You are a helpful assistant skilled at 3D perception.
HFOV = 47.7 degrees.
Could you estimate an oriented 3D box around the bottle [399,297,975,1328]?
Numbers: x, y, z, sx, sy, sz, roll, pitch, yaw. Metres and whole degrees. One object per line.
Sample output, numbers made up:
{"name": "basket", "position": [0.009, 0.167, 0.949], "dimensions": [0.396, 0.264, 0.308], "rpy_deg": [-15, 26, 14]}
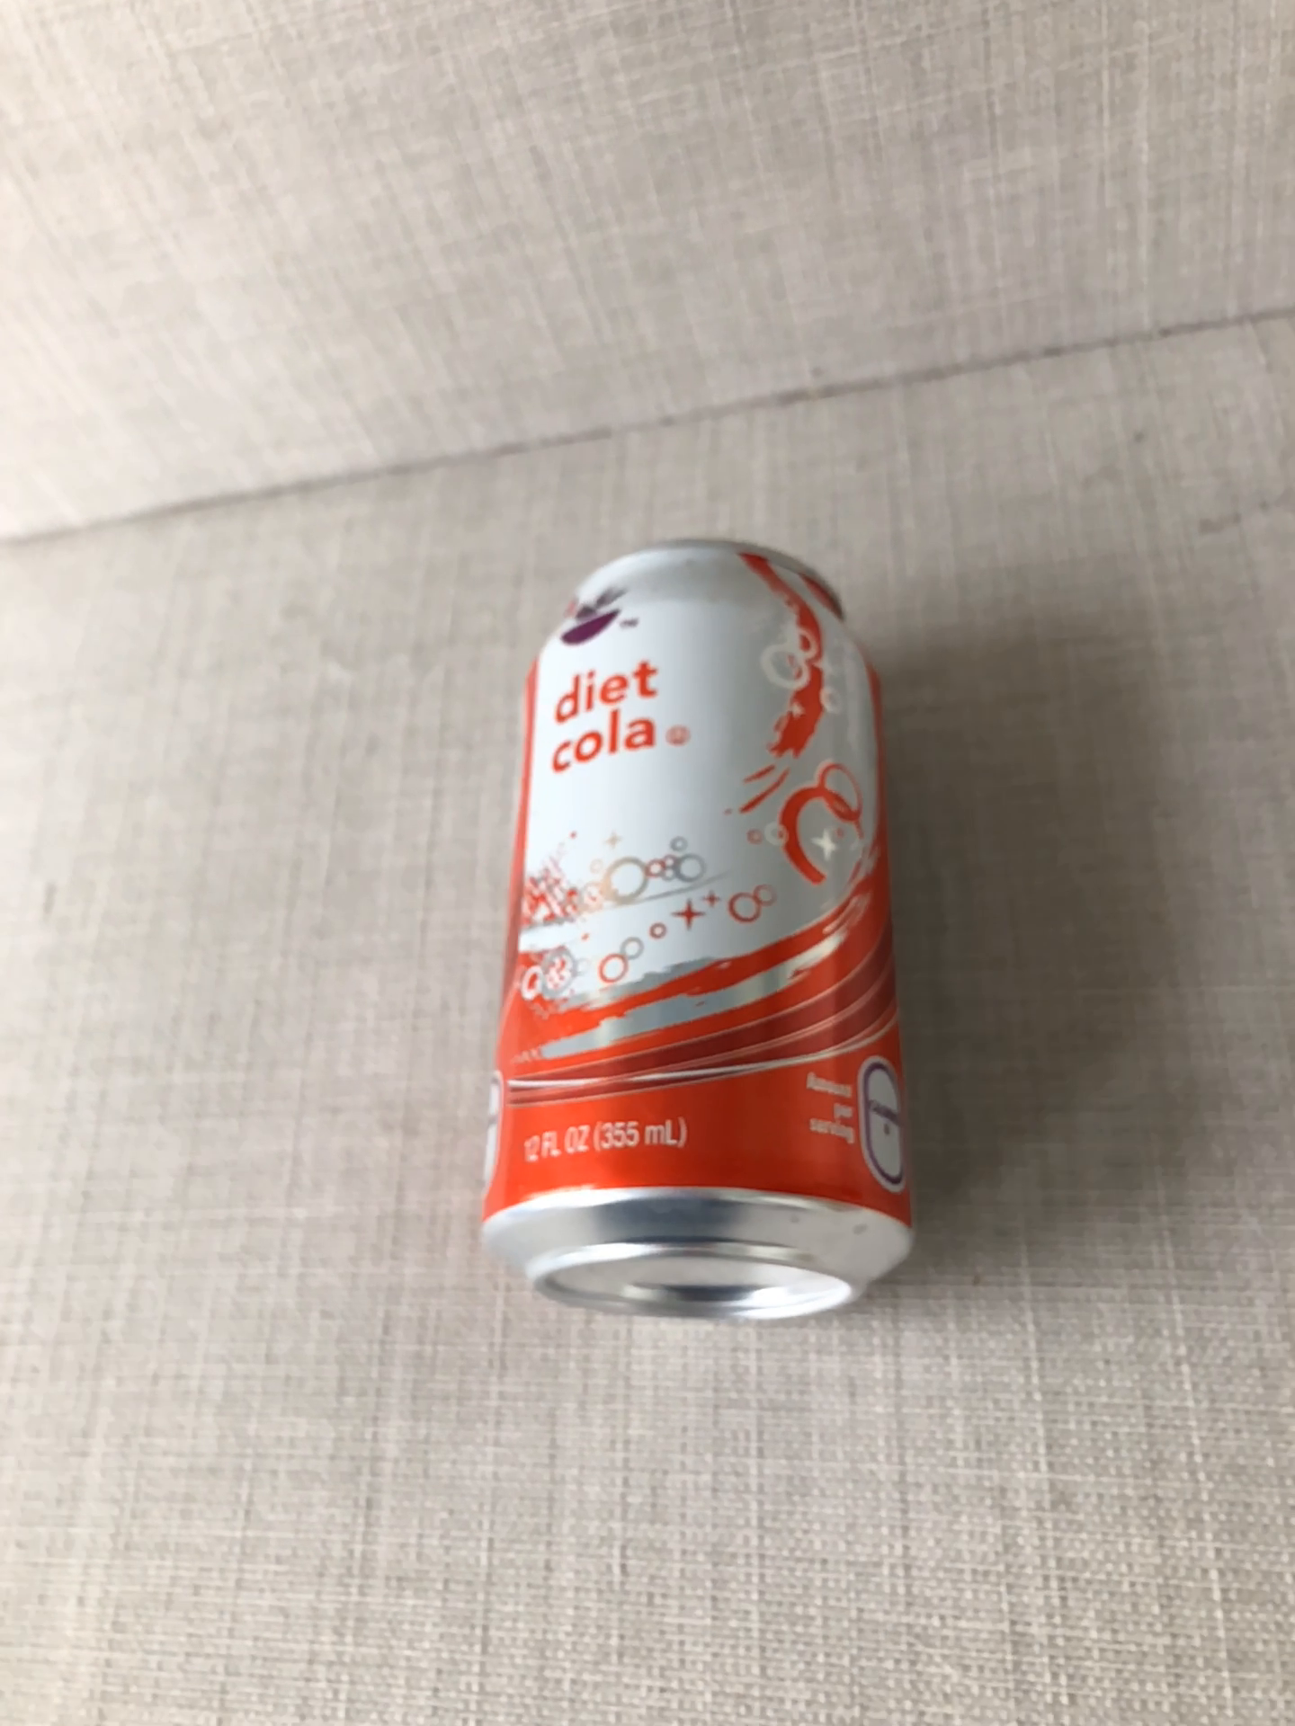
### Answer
{"name": "bottle", "position": [0.009, -0.007, 0.238], "dimensions": [0.070, 0.062, 0.149], "rpy_deg": [-6, 65, 13]}
